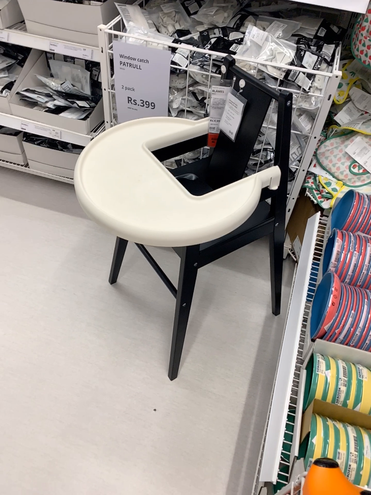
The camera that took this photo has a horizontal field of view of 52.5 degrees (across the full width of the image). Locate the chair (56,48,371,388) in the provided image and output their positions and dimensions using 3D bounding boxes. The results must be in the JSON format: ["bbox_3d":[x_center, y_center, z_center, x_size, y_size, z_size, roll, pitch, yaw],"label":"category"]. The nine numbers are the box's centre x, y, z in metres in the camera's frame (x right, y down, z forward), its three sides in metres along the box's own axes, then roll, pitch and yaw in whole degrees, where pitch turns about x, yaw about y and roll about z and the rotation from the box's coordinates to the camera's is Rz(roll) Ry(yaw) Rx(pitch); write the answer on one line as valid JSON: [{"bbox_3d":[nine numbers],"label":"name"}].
[{"bbox_3d":[0.033,-0.072,1.188,0.551,0.777,0.531,-24,55,-23],"label":"chair"}]
